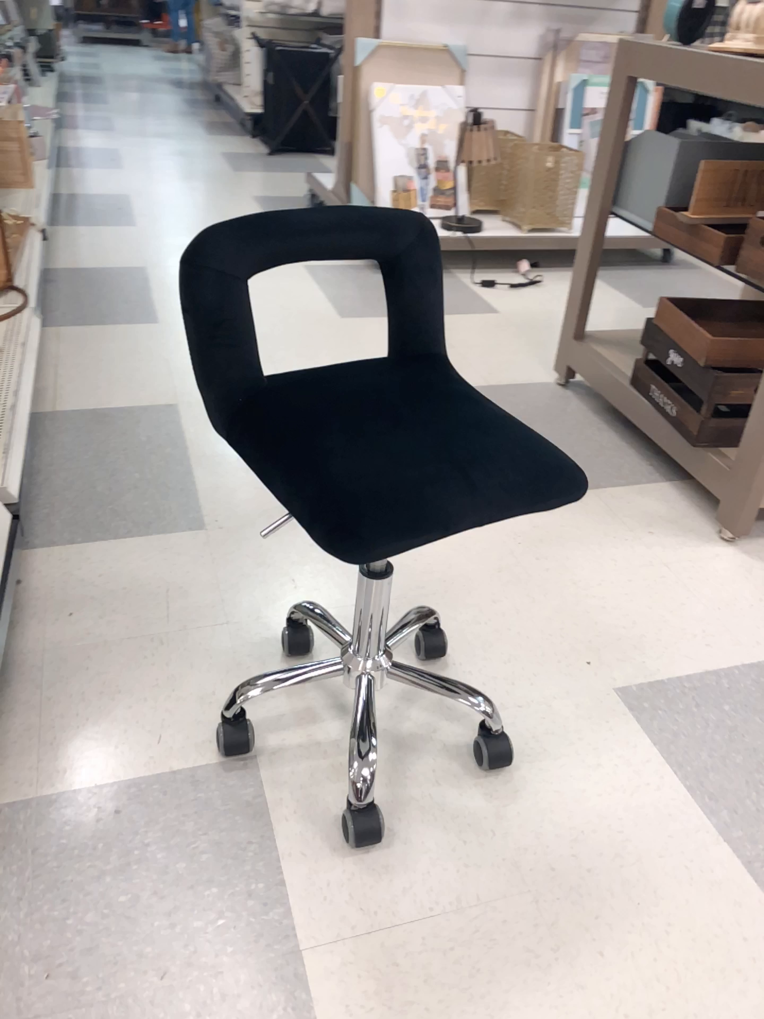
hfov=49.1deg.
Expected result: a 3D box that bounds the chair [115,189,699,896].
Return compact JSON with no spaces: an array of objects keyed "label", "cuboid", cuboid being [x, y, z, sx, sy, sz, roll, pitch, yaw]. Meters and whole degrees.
[{"label":"chair","cuboid":[-0.017,0.002,1.112,0.463,0.693,0.486,-15,37,-29]}]
